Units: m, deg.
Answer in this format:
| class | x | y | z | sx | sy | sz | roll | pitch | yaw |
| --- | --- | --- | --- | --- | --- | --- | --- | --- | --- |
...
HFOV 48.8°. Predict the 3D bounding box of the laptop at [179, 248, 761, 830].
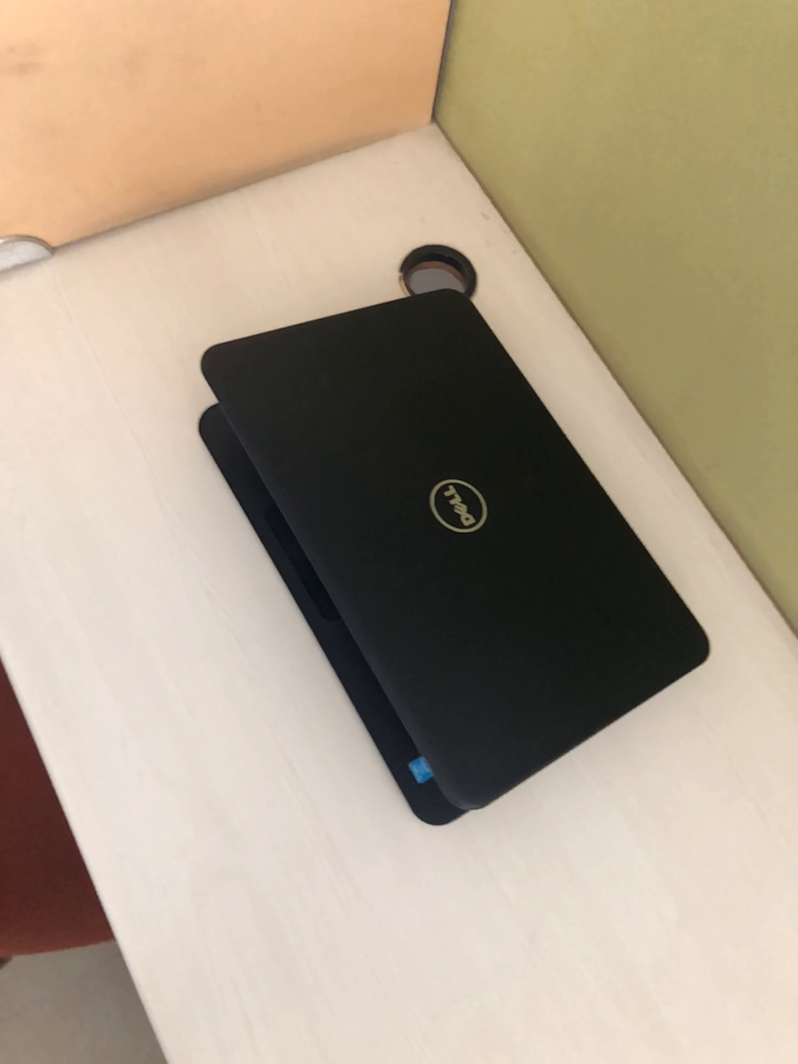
| class | x | y | z | sx | sy | sz | roll | pitch | yaw |
| --- | --- | --- | --- | --- | --- | --- | --- | --- | --- |
| laptop | 0.039 | -0.009 | 0.639 | 0.247 | 0.079 | 0.353 | -27 | 74 | -15 |
